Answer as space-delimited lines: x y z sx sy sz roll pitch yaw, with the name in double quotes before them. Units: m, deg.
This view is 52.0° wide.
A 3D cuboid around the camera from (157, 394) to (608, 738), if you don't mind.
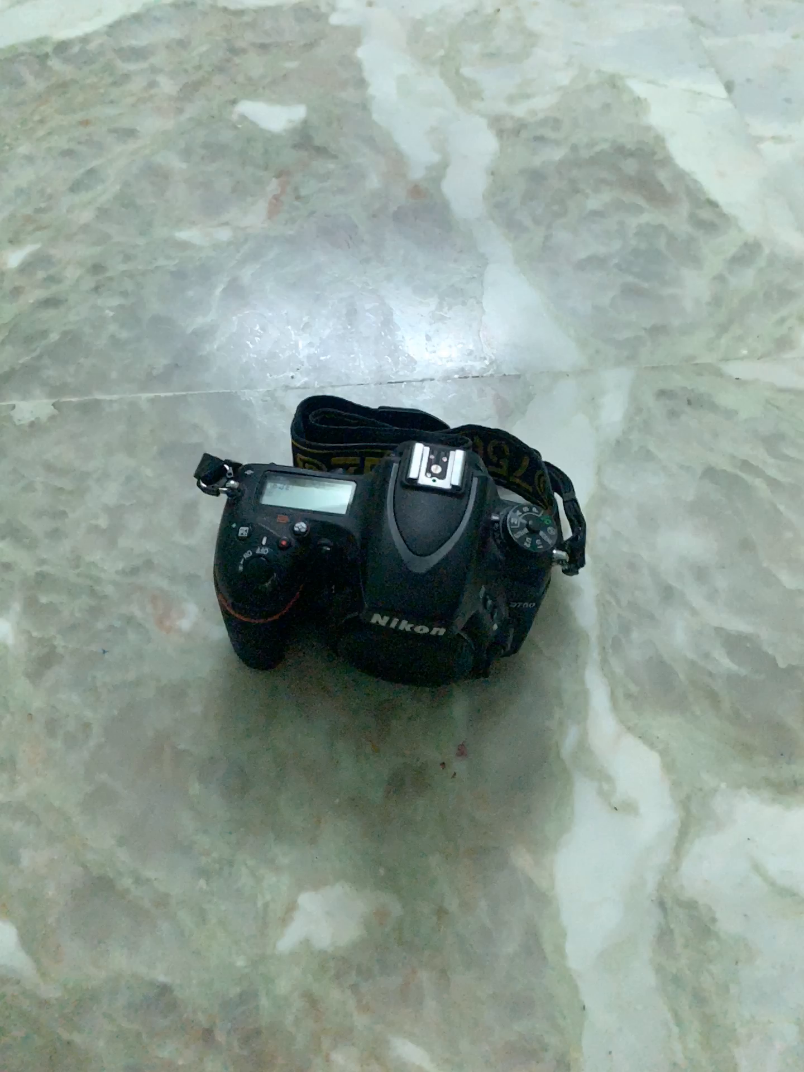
"camera" -0.005 0.016 0.337 0.150 0.100 0.080 9 59 2
